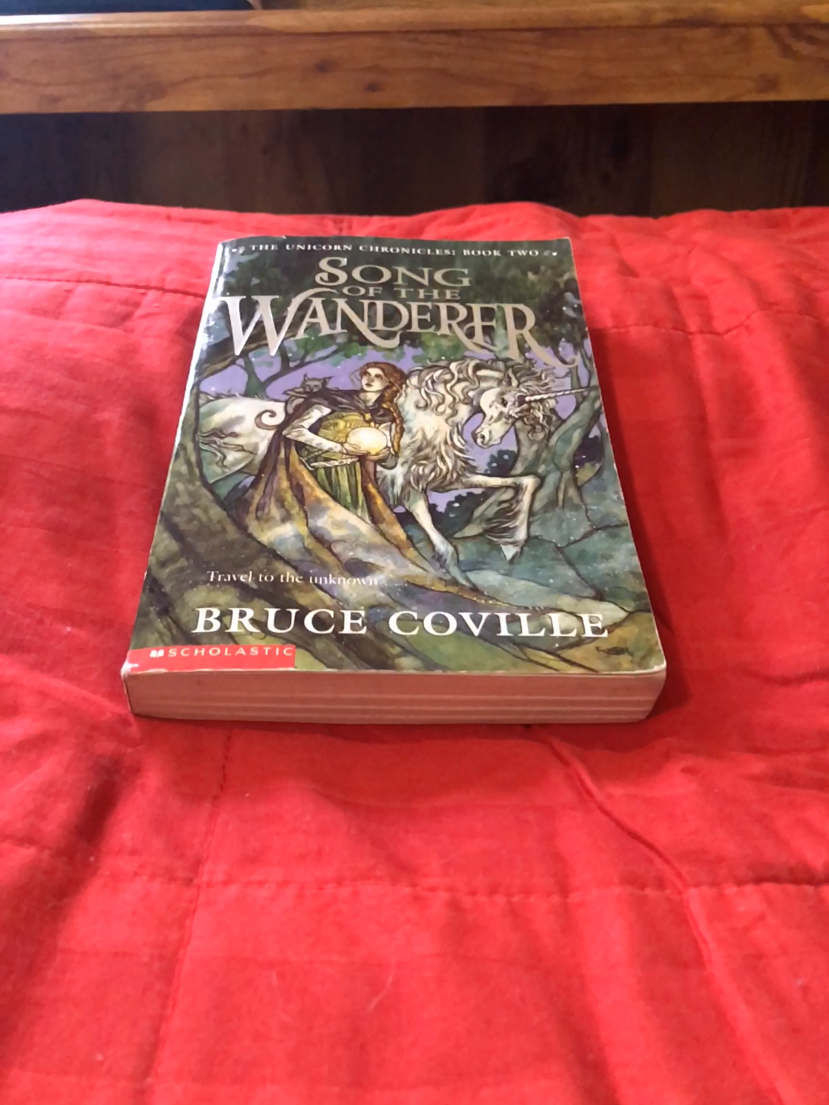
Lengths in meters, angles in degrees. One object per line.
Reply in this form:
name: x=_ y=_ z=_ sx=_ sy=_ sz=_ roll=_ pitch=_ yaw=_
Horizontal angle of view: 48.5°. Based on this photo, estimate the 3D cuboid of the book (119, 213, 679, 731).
book: x=-0.005 y=-0.038 z=0.285 sx=0.130 sy=0.030 sz=0.192 roll=0 pitch=51 yaw=-1
